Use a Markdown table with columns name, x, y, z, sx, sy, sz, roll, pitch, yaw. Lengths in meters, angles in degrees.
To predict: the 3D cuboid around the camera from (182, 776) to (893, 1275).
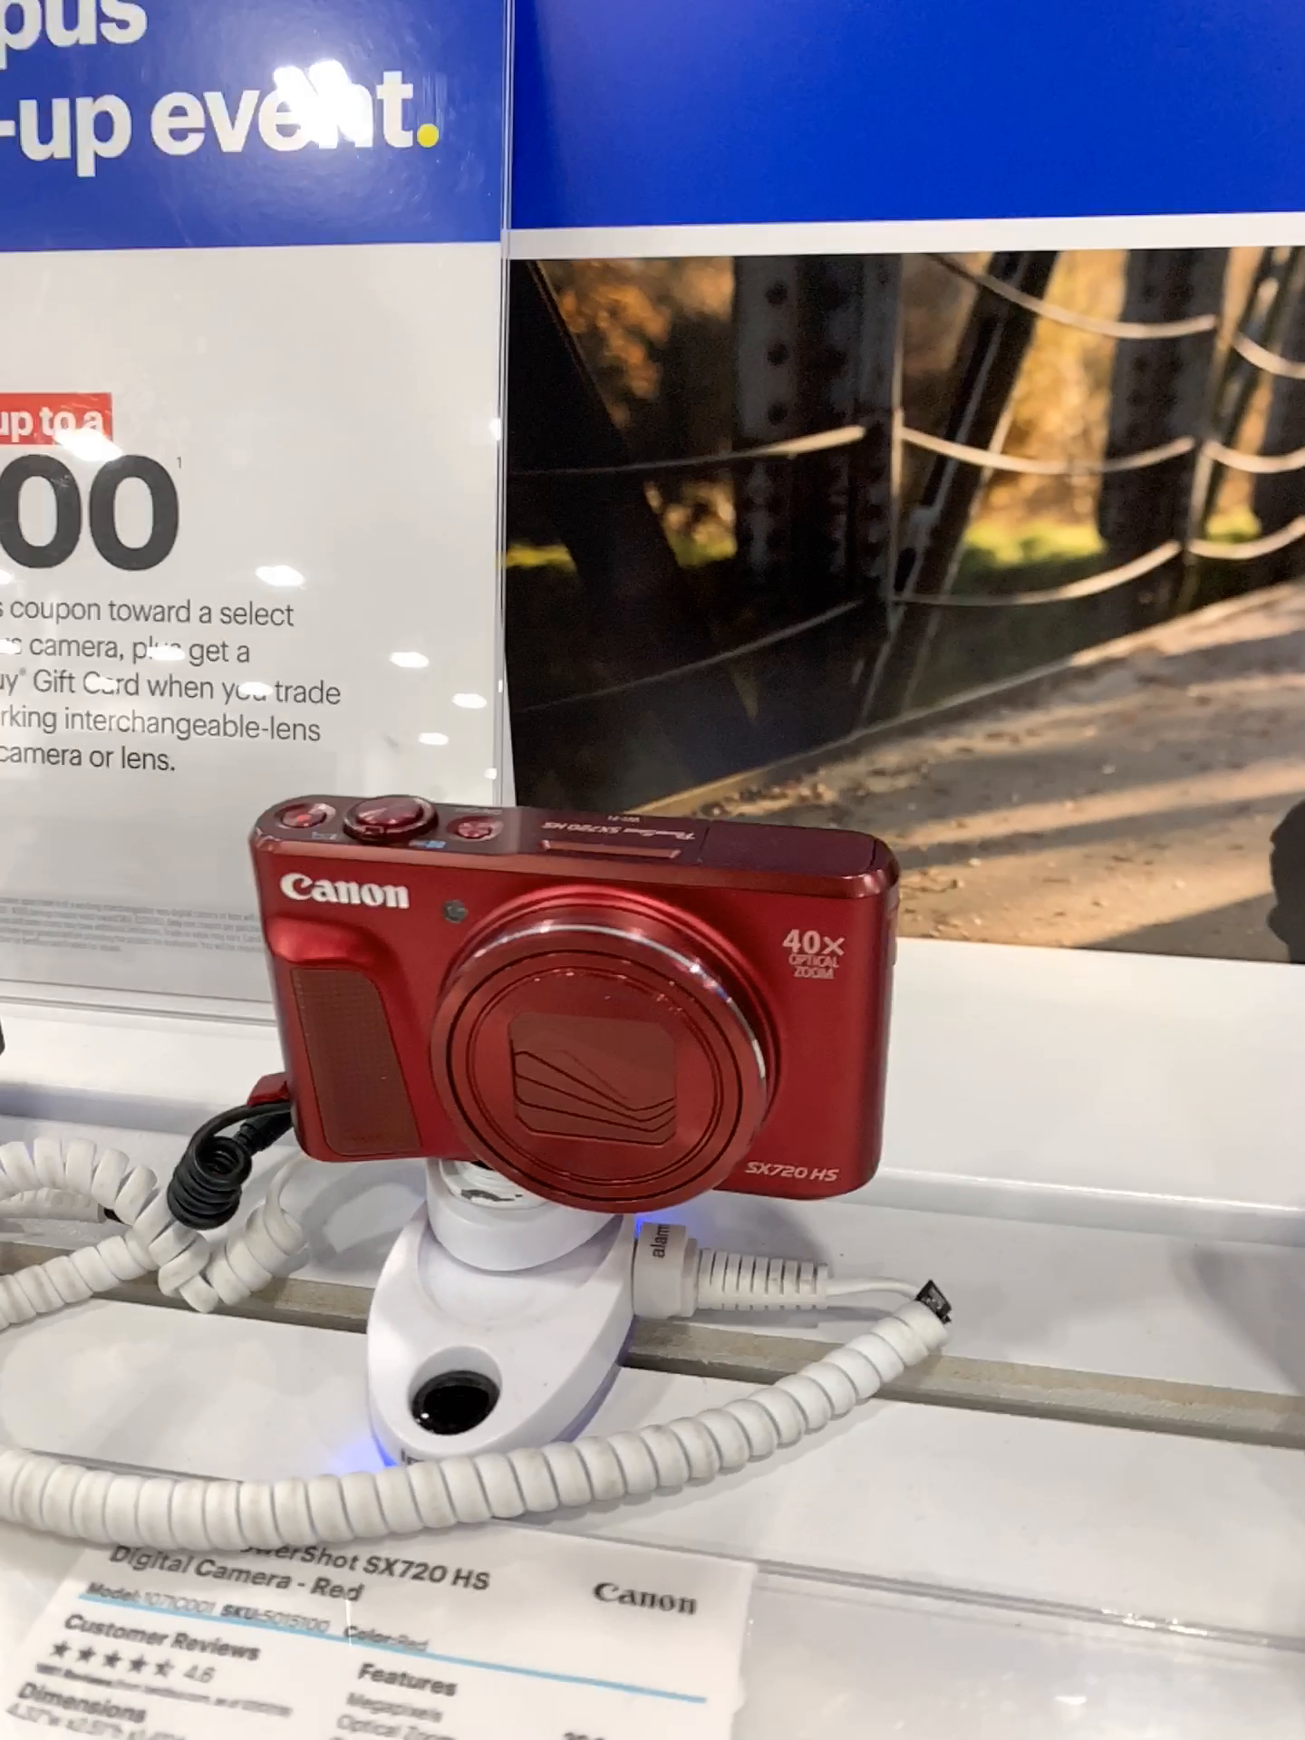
| name | x | y | z | sx | sy | sz | roll | pitch | yaw |
| --- | --- | --- | --- | --- | --- | --- | --- | --- | --- |
| camera | -0.017 | 0.025 | 0.232 | 0.110 | 0.070 | 0.030 | 4 | 27 | 13 |
